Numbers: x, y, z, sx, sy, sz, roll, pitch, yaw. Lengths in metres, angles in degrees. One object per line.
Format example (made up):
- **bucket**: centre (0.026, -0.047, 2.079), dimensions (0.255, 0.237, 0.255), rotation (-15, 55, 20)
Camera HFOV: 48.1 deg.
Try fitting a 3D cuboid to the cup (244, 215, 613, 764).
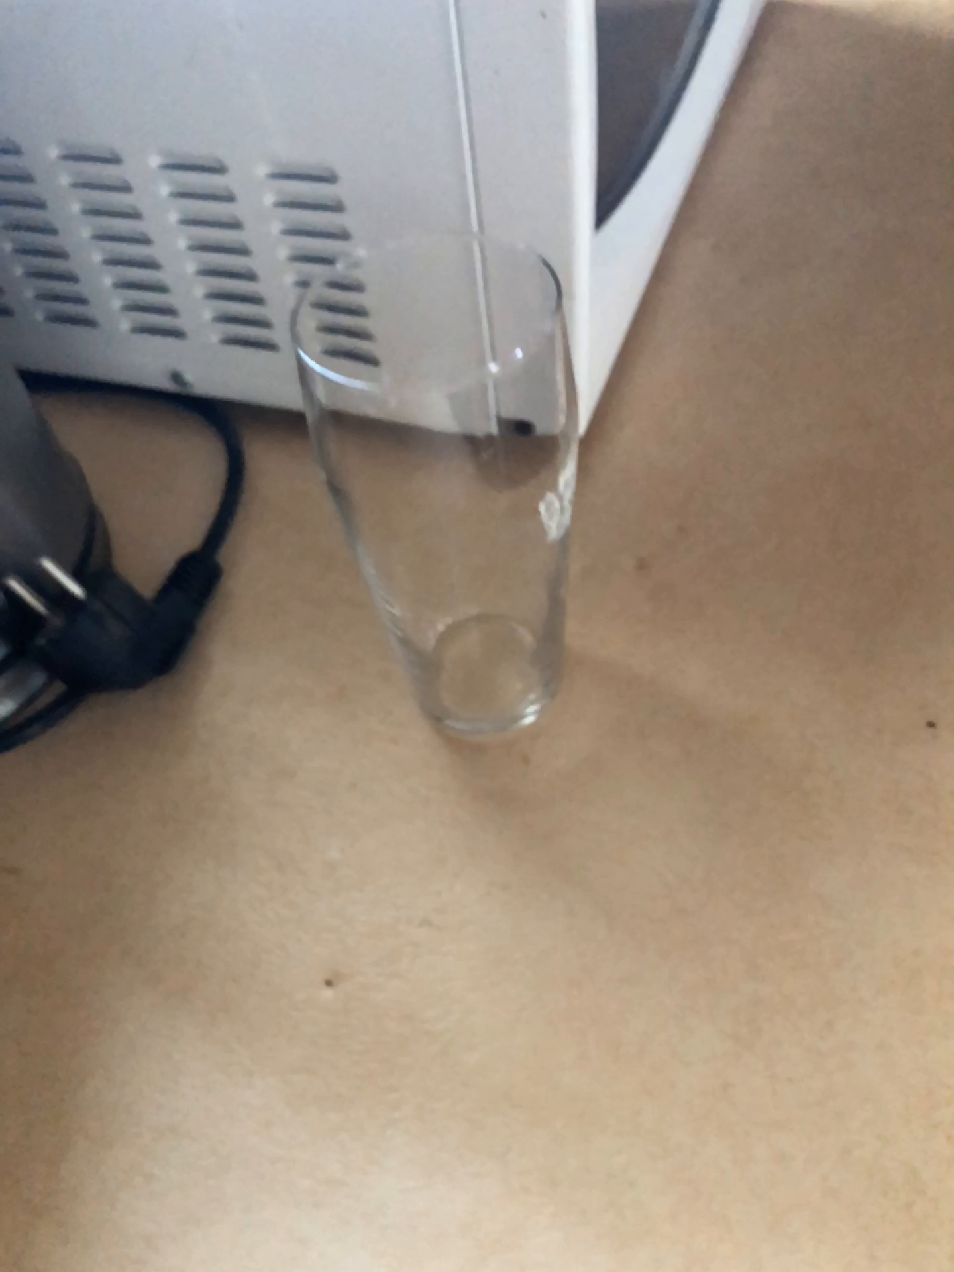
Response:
- **cup**: centre (-0.002, -0.033, 0.286), dimensions (0.070, 0.129, 0.070), rotation (-4, 50, 5)
